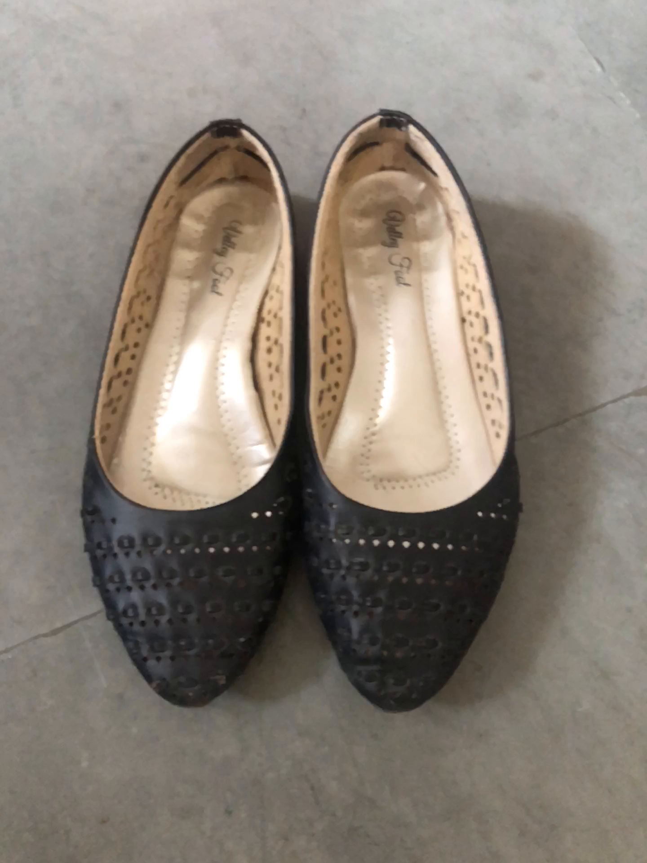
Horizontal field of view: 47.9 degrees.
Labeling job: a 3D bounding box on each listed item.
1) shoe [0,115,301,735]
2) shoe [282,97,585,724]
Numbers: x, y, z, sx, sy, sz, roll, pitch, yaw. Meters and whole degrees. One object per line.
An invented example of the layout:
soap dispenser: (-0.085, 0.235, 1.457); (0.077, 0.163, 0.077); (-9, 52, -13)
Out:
shoe: (-0.064, -0.009, 0.303); (0.095, 0.062, 0.242); (1, 72, 3)
shoe: (0.034, -0.012, 0.304); (0.095, 0.073, 0.242); (-2, 72, 3)
